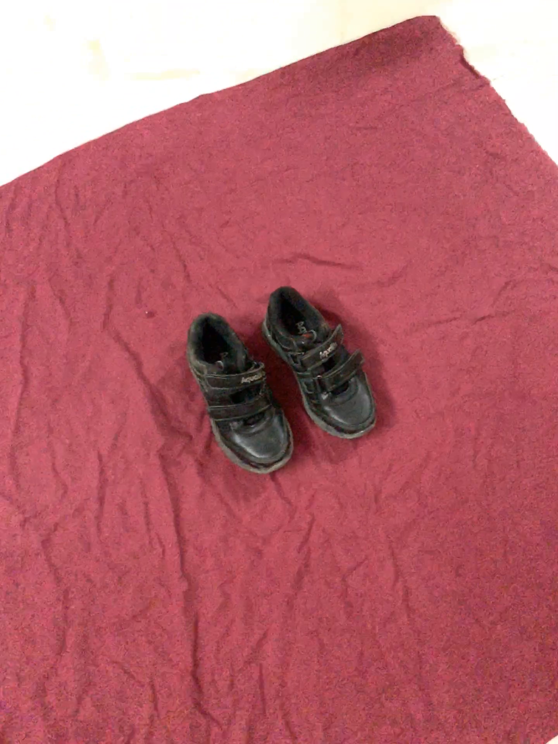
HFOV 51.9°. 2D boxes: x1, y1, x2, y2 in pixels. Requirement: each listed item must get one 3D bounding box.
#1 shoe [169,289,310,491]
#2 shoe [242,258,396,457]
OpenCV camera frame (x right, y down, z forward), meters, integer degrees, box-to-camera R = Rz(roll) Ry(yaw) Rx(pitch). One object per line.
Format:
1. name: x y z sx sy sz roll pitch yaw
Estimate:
1. shoe: -0.047 0.020 0.653 0.070 0.070 0.211 -25 72 -9
2. shoe: 0.040 -0.017 0.659 0.070 0.070 0.211 -28 73 -10
